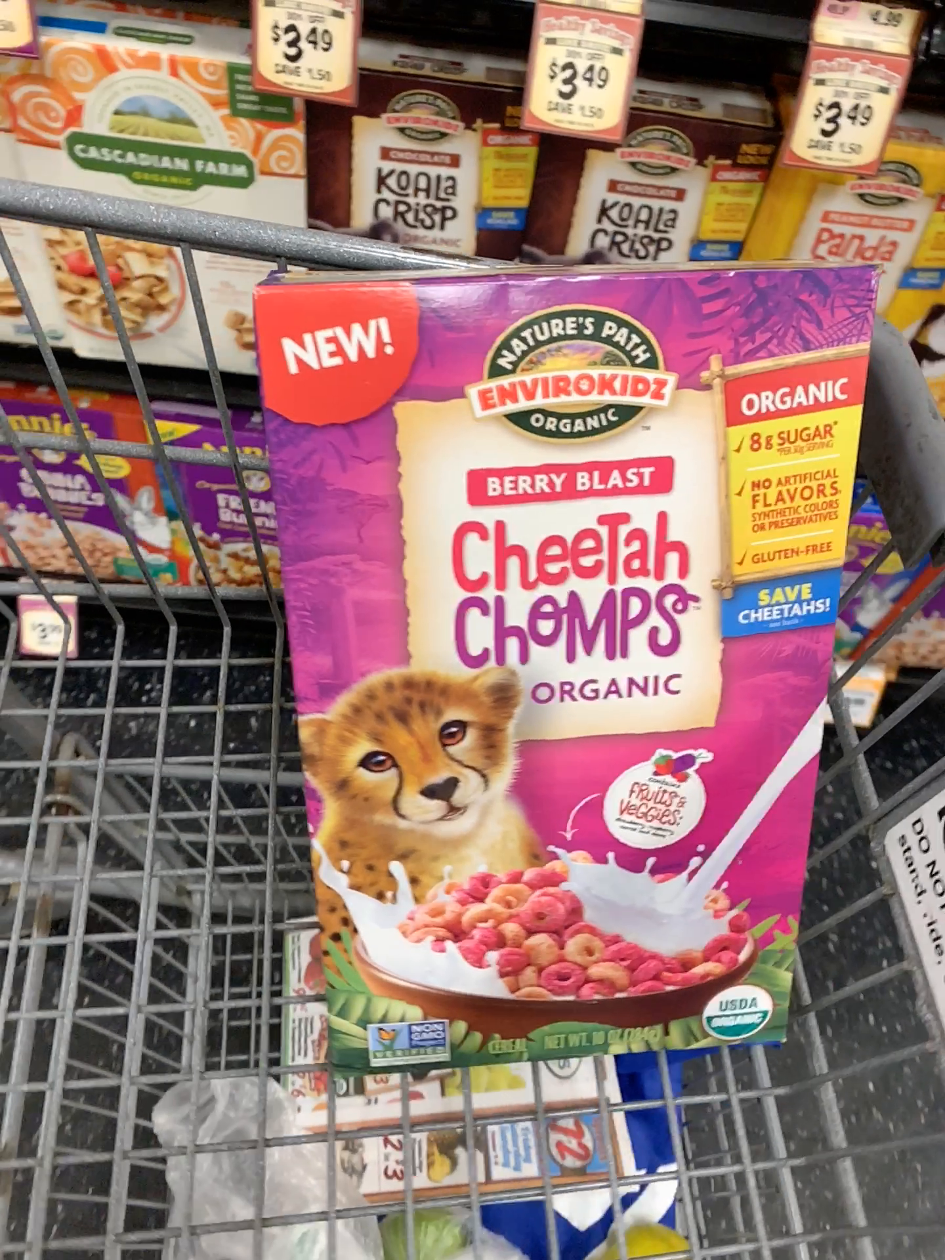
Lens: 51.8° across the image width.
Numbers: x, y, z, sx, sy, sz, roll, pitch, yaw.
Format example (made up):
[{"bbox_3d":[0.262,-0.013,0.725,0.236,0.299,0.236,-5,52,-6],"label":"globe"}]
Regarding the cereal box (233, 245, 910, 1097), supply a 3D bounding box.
[{"bbox_3d":[0.025,0.017,0.300,0.160,0.250,0.060,-3,21,-6],"label":"cereal box"}]
